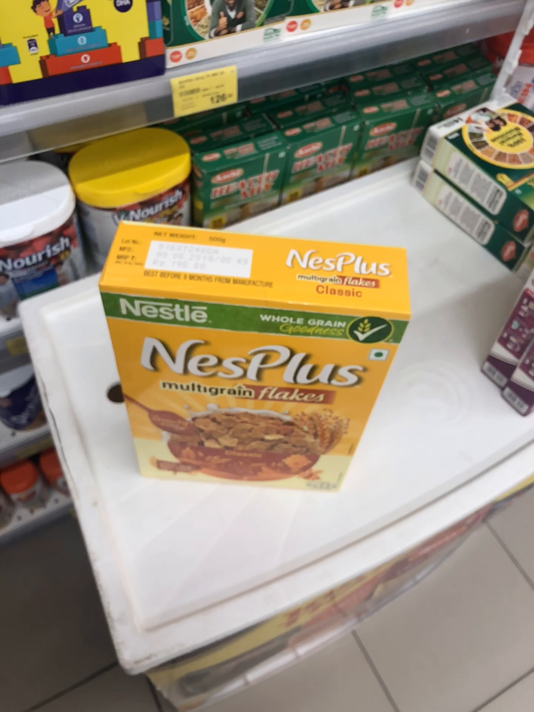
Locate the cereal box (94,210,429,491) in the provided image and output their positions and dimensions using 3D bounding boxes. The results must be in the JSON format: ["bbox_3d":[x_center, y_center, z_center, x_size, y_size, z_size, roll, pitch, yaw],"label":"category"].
[{"bbox_3d":[-0.010,0.018,0.487,0.200,0.270,0.070,4,55,-2],"label":"cereal box"}]
